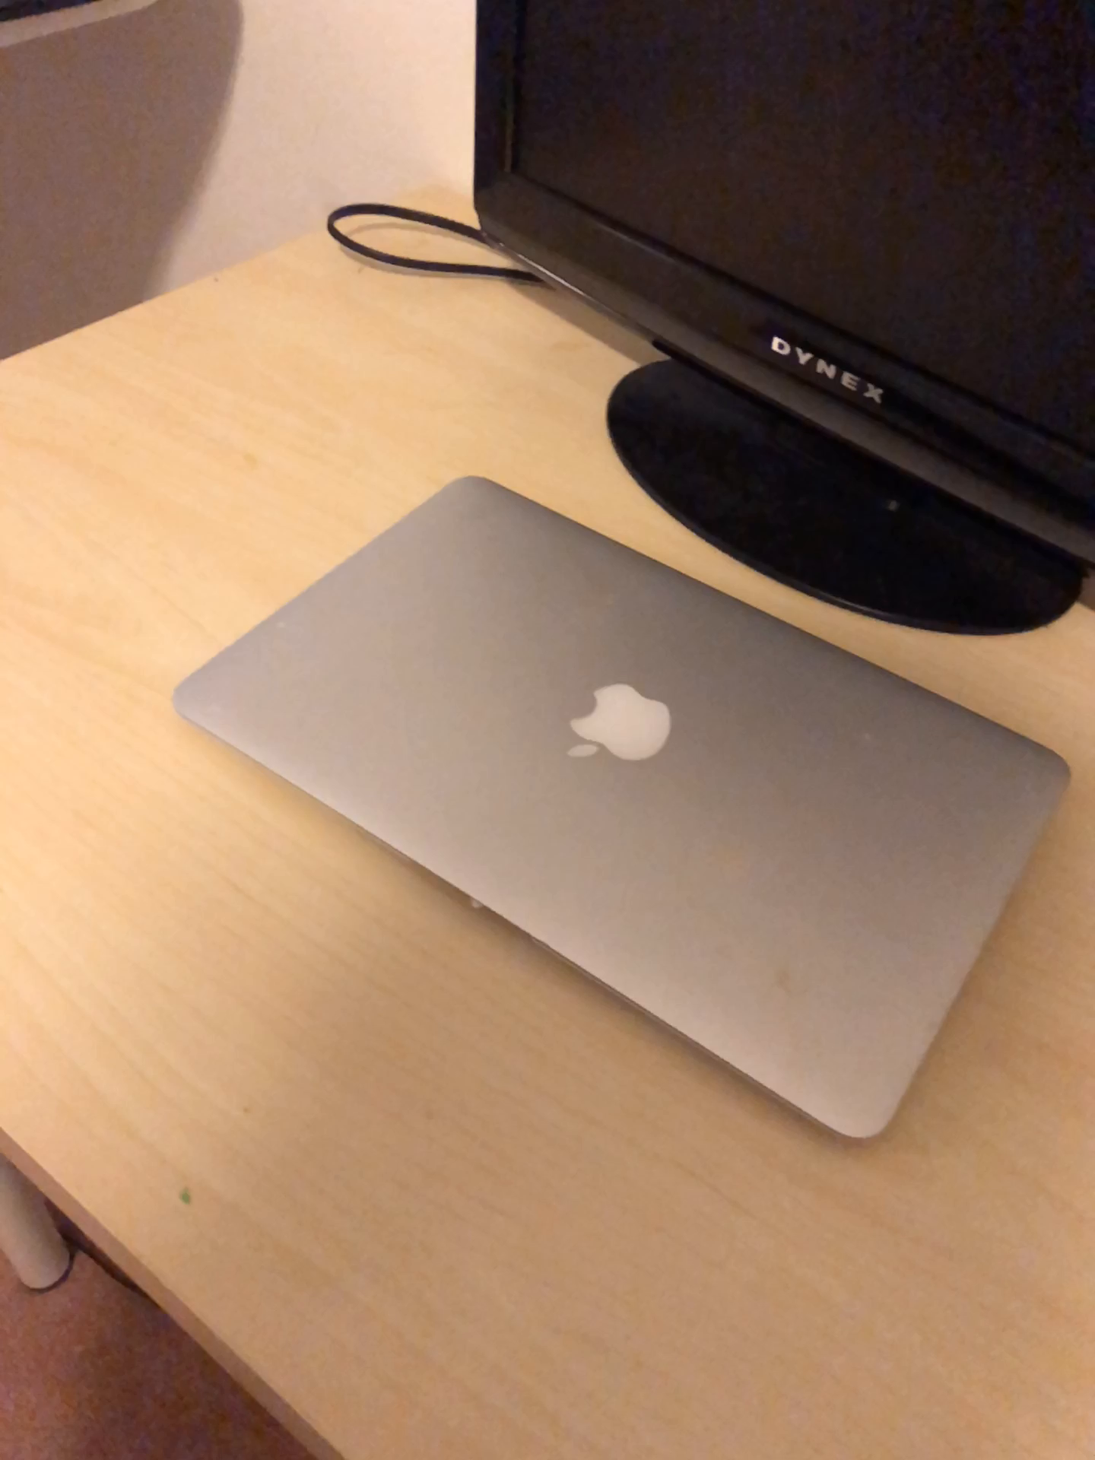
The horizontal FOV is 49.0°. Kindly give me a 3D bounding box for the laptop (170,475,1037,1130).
[{"bbox_3d":[0.024,0.002,0.462,0.279,0.005,0.181,30,53,19],"label":"laptop"}]
